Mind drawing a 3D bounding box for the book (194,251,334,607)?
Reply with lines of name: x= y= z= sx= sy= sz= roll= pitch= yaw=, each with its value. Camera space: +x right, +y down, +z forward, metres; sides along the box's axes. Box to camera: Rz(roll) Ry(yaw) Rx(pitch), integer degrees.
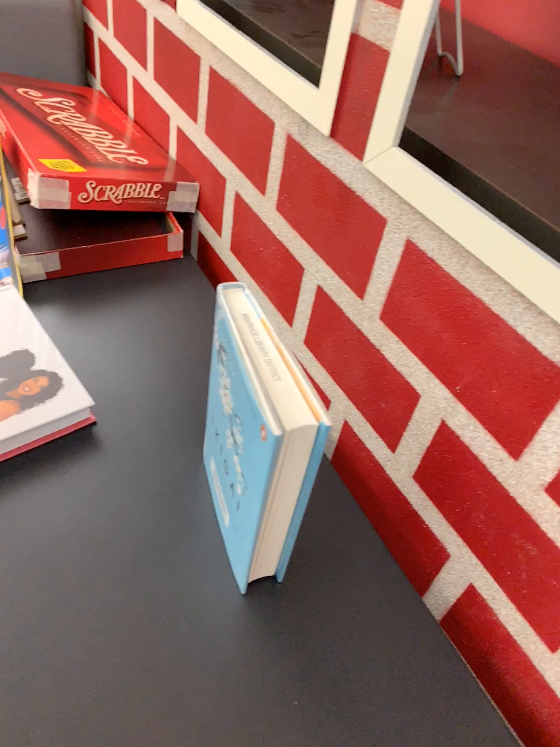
book: x=-0.025 y=0.043 z=0.400 sx=0.040 sy=0.199 sz=0.151 roll=-8 pitch=47 yaw=-16
